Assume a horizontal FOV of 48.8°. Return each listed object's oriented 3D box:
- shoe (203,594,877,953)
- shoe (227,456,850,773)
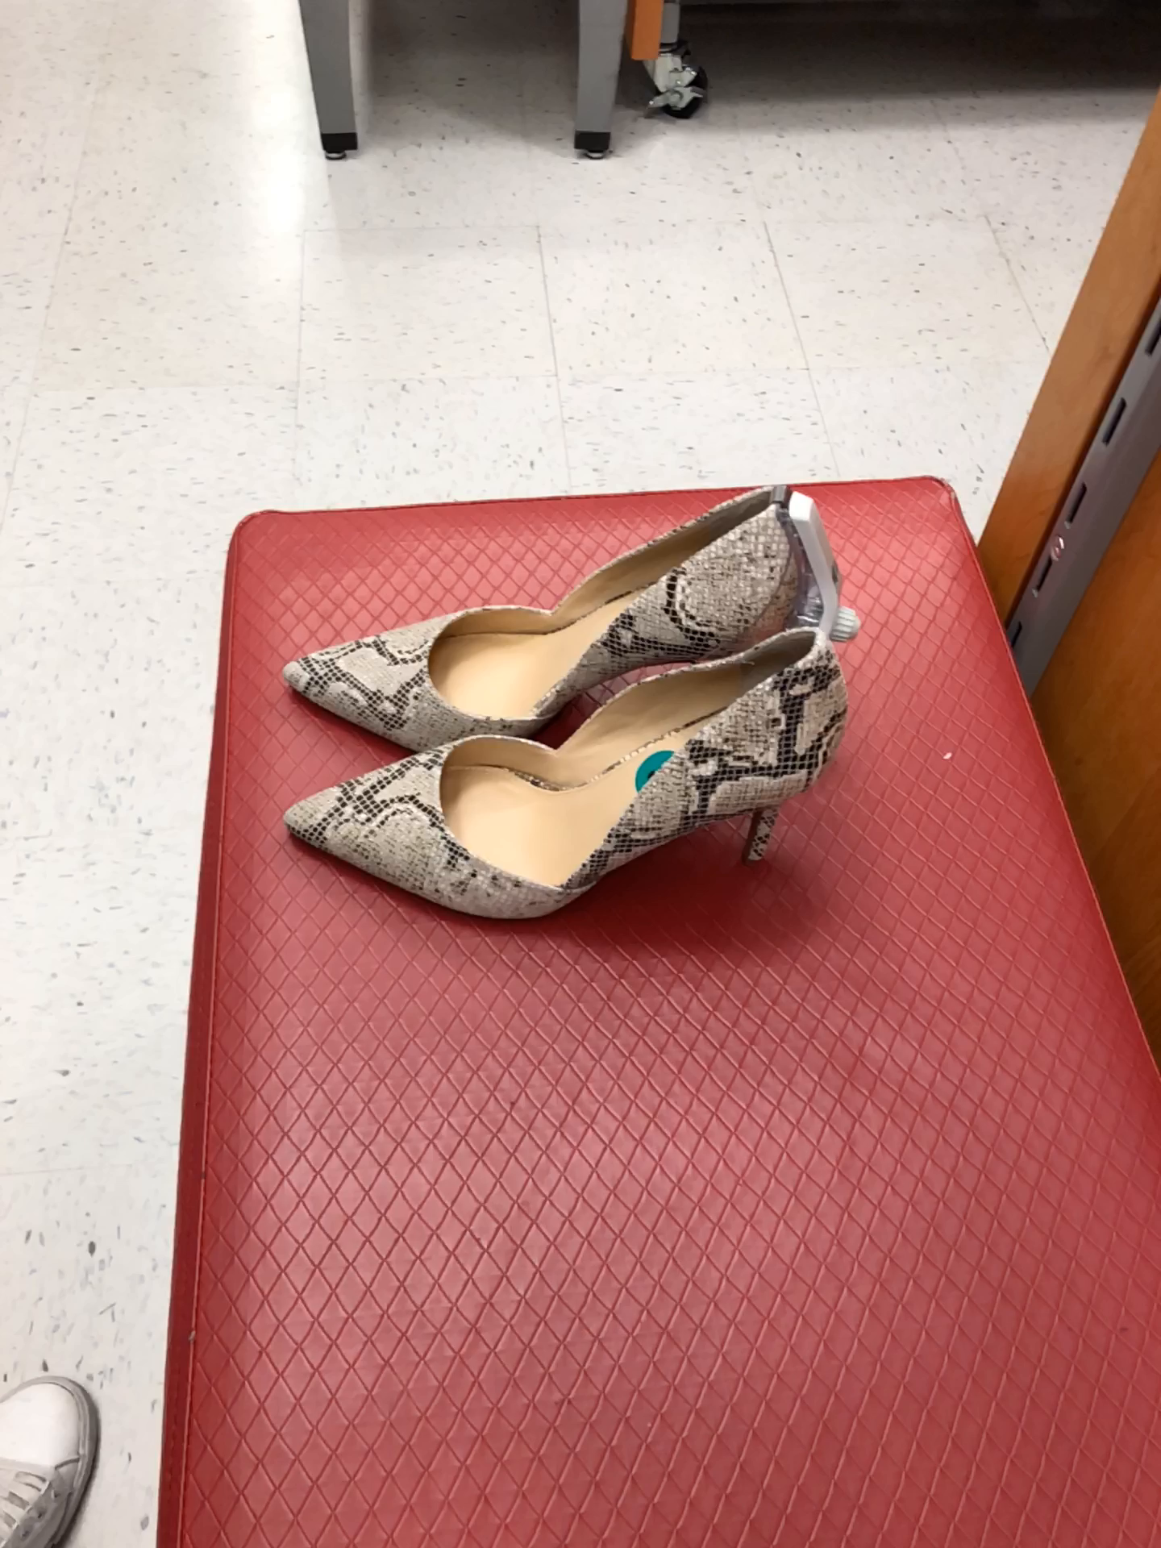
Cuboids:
[{"bbox_3d":[-0.014,0.001,0.558,0.259,0.102,0.093,5,55,2],"label":"shoe"},{"bbox_3d":[-0.018,-0.073,0.610,0.262,0.112,0.092,1,55,-1],"label":"shoe"}]
